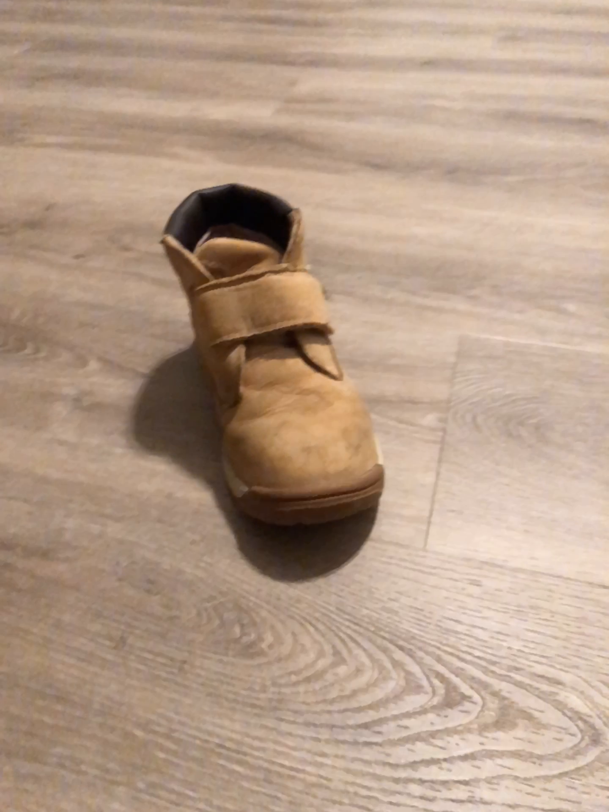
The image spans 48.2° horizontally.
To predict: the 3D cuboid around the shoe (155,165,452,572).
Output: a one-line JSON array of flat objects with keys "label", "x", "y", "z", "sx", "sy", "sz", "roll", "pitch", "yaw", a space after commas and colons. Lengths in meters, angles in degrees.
[{"label": "shoe", "x": -0.014, "y": -0.035, "z": 0.355, "sx": 0.090, "sy": 0.099, "sz": 0.201, "roll": -11, "pitch": 41, "yaw": -11}]
